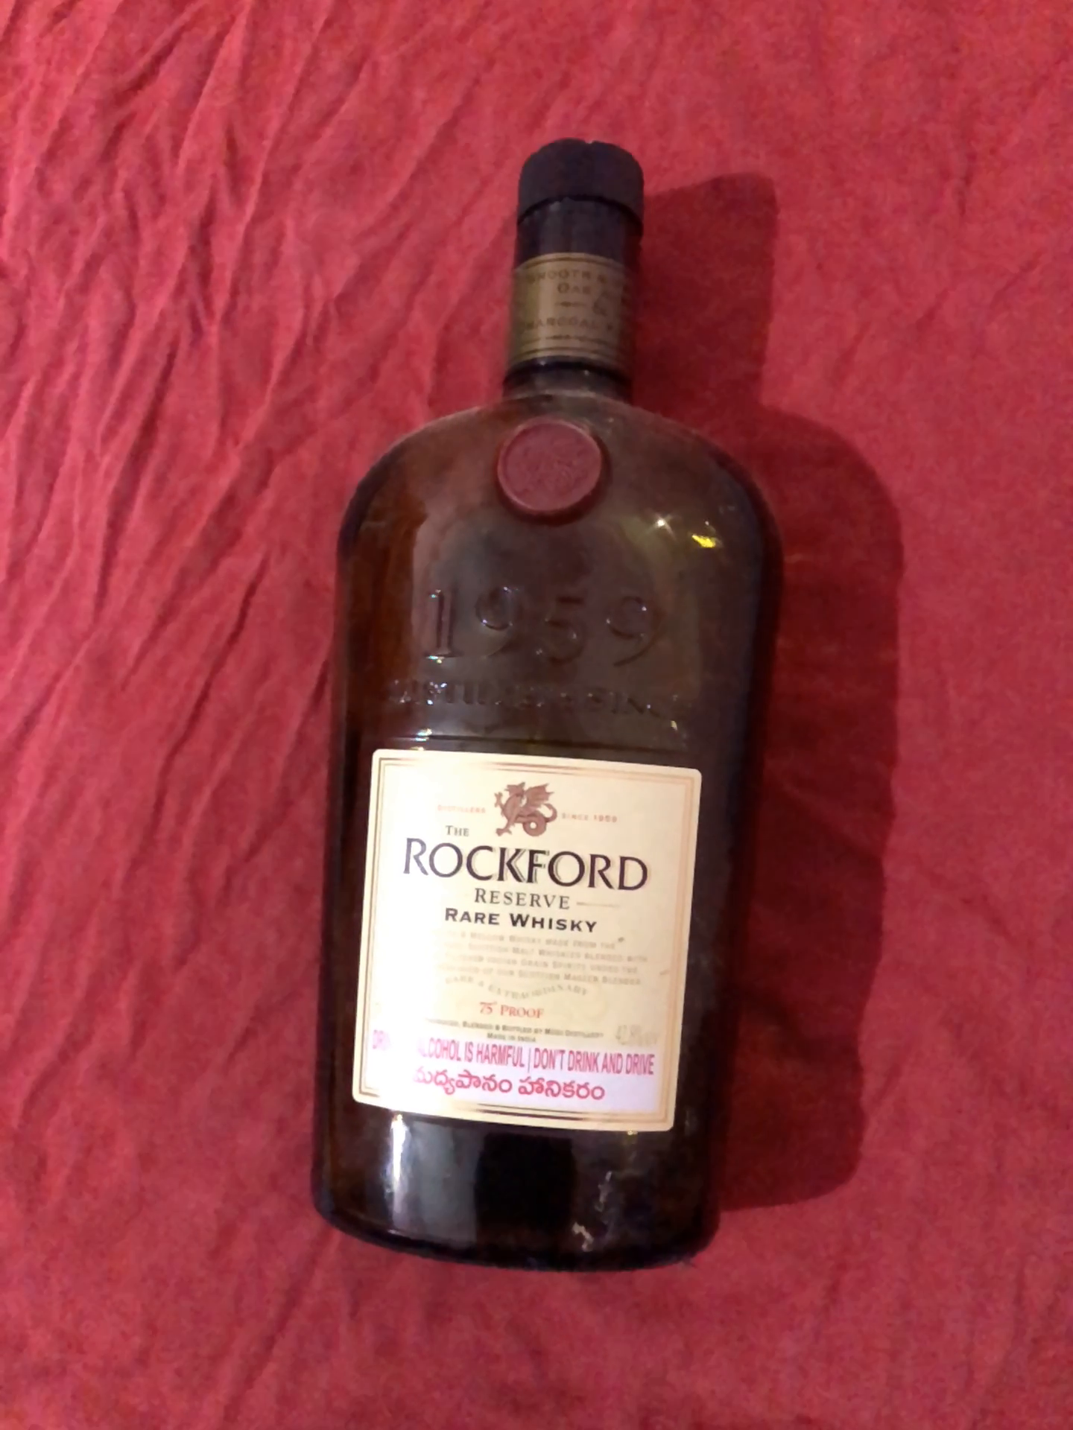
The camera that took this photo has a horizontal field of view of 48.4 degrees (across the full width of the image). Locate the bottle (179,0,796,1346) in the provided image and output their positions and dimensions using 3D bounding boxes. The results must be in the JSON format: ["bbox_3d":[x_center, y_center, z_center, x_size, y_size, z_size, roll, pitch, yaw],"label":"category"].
[{"bbox_3d":[-0.003,-0.016,0.252,0.100,0.060,0.250,3,83,7],"label":"bottle"}]
